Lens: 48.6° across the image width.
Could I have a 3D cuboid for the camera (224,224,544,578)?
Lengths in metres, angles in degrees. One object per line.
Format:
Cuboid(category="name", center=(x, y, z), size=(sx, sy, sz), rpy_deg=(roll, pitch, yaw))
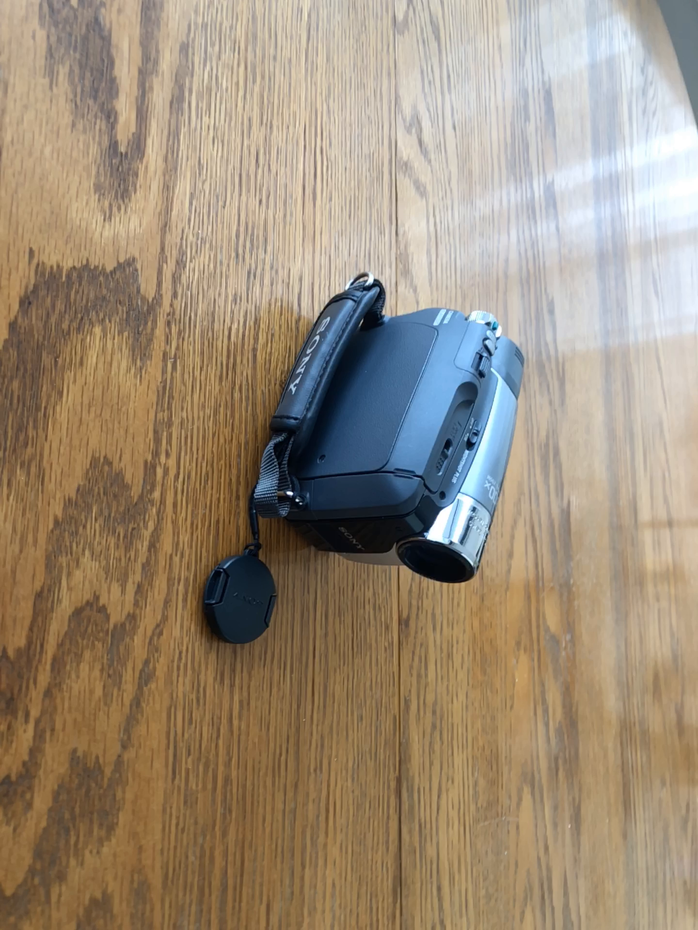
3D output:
Cuboid(category="camera", center=(0.021, -0.023, 0.318), size=(0.080, 0.072, 0.112), rpy_deg=(48, 50, -37))
